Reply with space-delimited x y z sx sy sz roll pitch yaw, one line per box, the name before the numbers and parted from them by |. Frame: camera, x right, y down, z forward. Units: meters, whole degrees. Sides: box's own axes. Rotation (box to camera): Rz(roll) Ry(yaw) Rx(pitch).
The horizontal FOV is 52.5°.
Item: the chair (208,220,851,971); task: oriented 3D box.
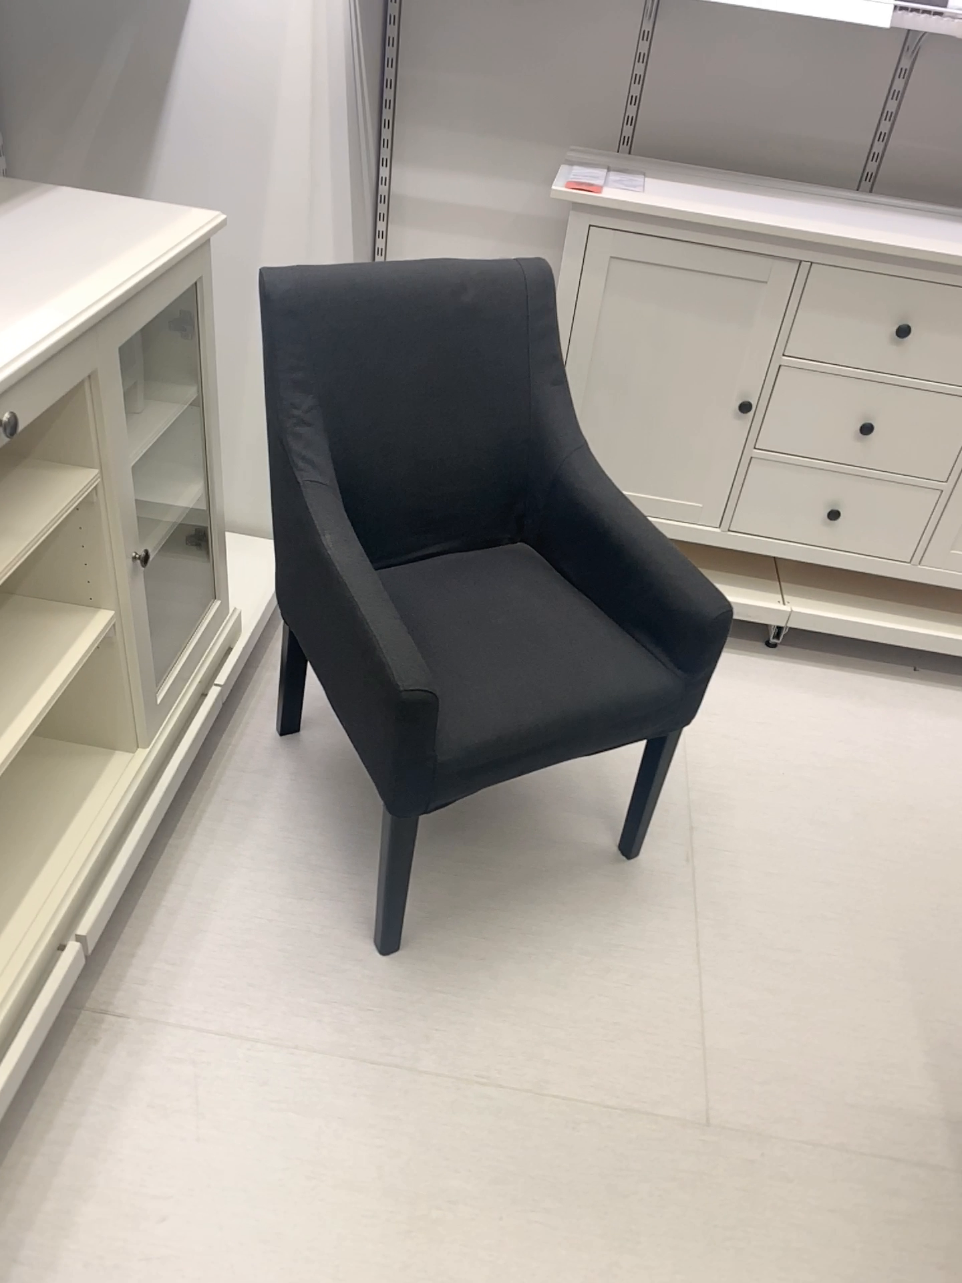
chair | -0.008 -0.103 1.605 0.661 0.946 0.612 -14 42 -27
